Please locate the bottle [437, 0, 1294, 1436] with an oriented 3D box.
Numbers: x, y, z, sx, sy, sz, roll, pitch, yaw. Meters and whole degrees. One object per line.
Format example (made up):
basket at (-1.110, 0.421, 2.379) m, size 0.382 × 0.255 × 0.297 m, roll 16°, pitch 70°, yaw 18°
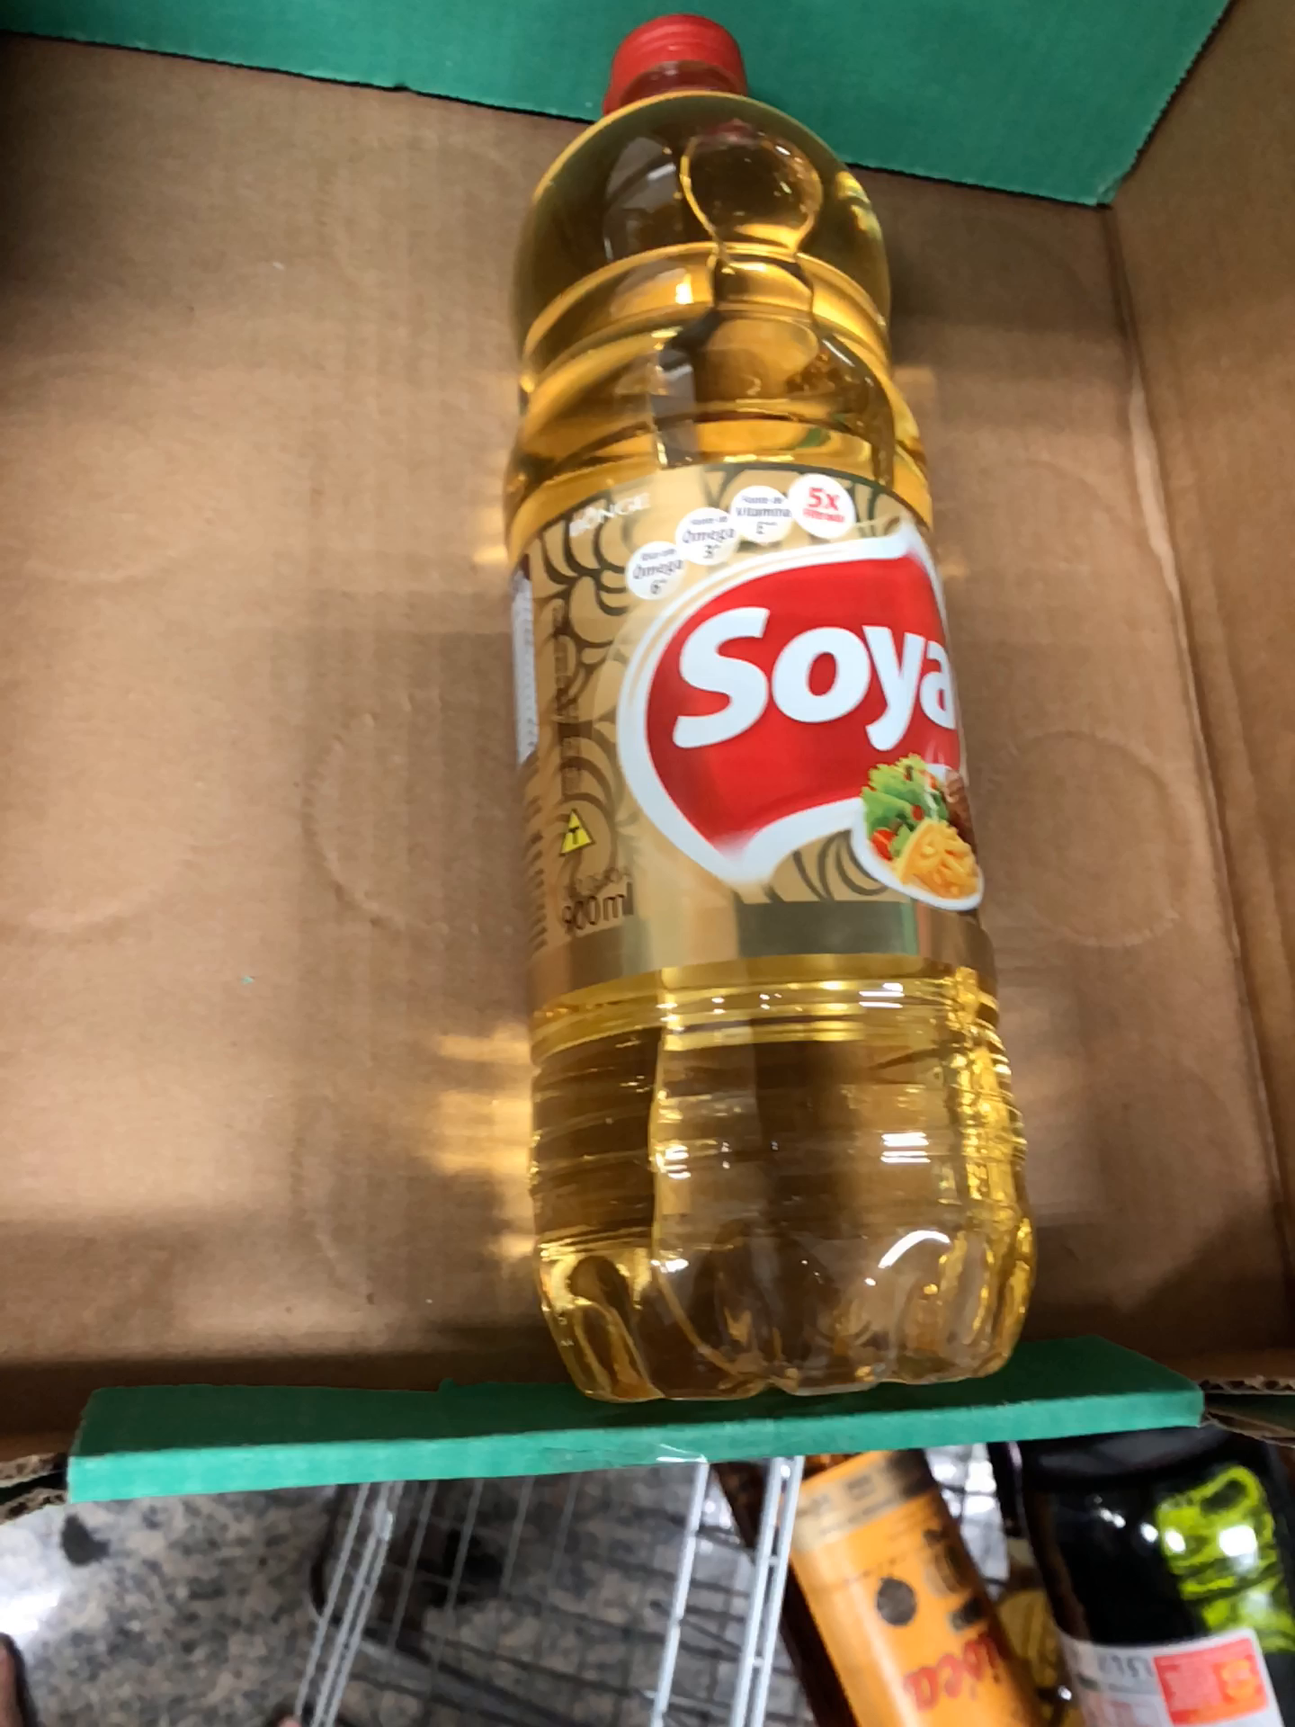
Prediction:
bottle at (0.018, -0.036, 0.212) m, size 0.080 × 0.070 × 0.210 m, roll 0°, pitch 74°, yaw -17°
